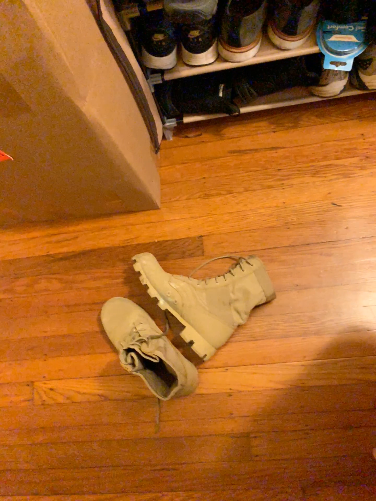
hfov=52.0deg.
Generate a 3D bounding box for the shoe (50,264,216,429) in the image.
[{"bbox_3d":[-0.100,0.188,0.782,0.291,0.200,0.120,42,84,17],"label":"shoe"}]

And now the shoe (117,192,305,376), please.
[{"bbox_3d":[0.047,0.070,0.849,0.260,0.110,0.291,-43,72,-11],"label":"shoe"}]
